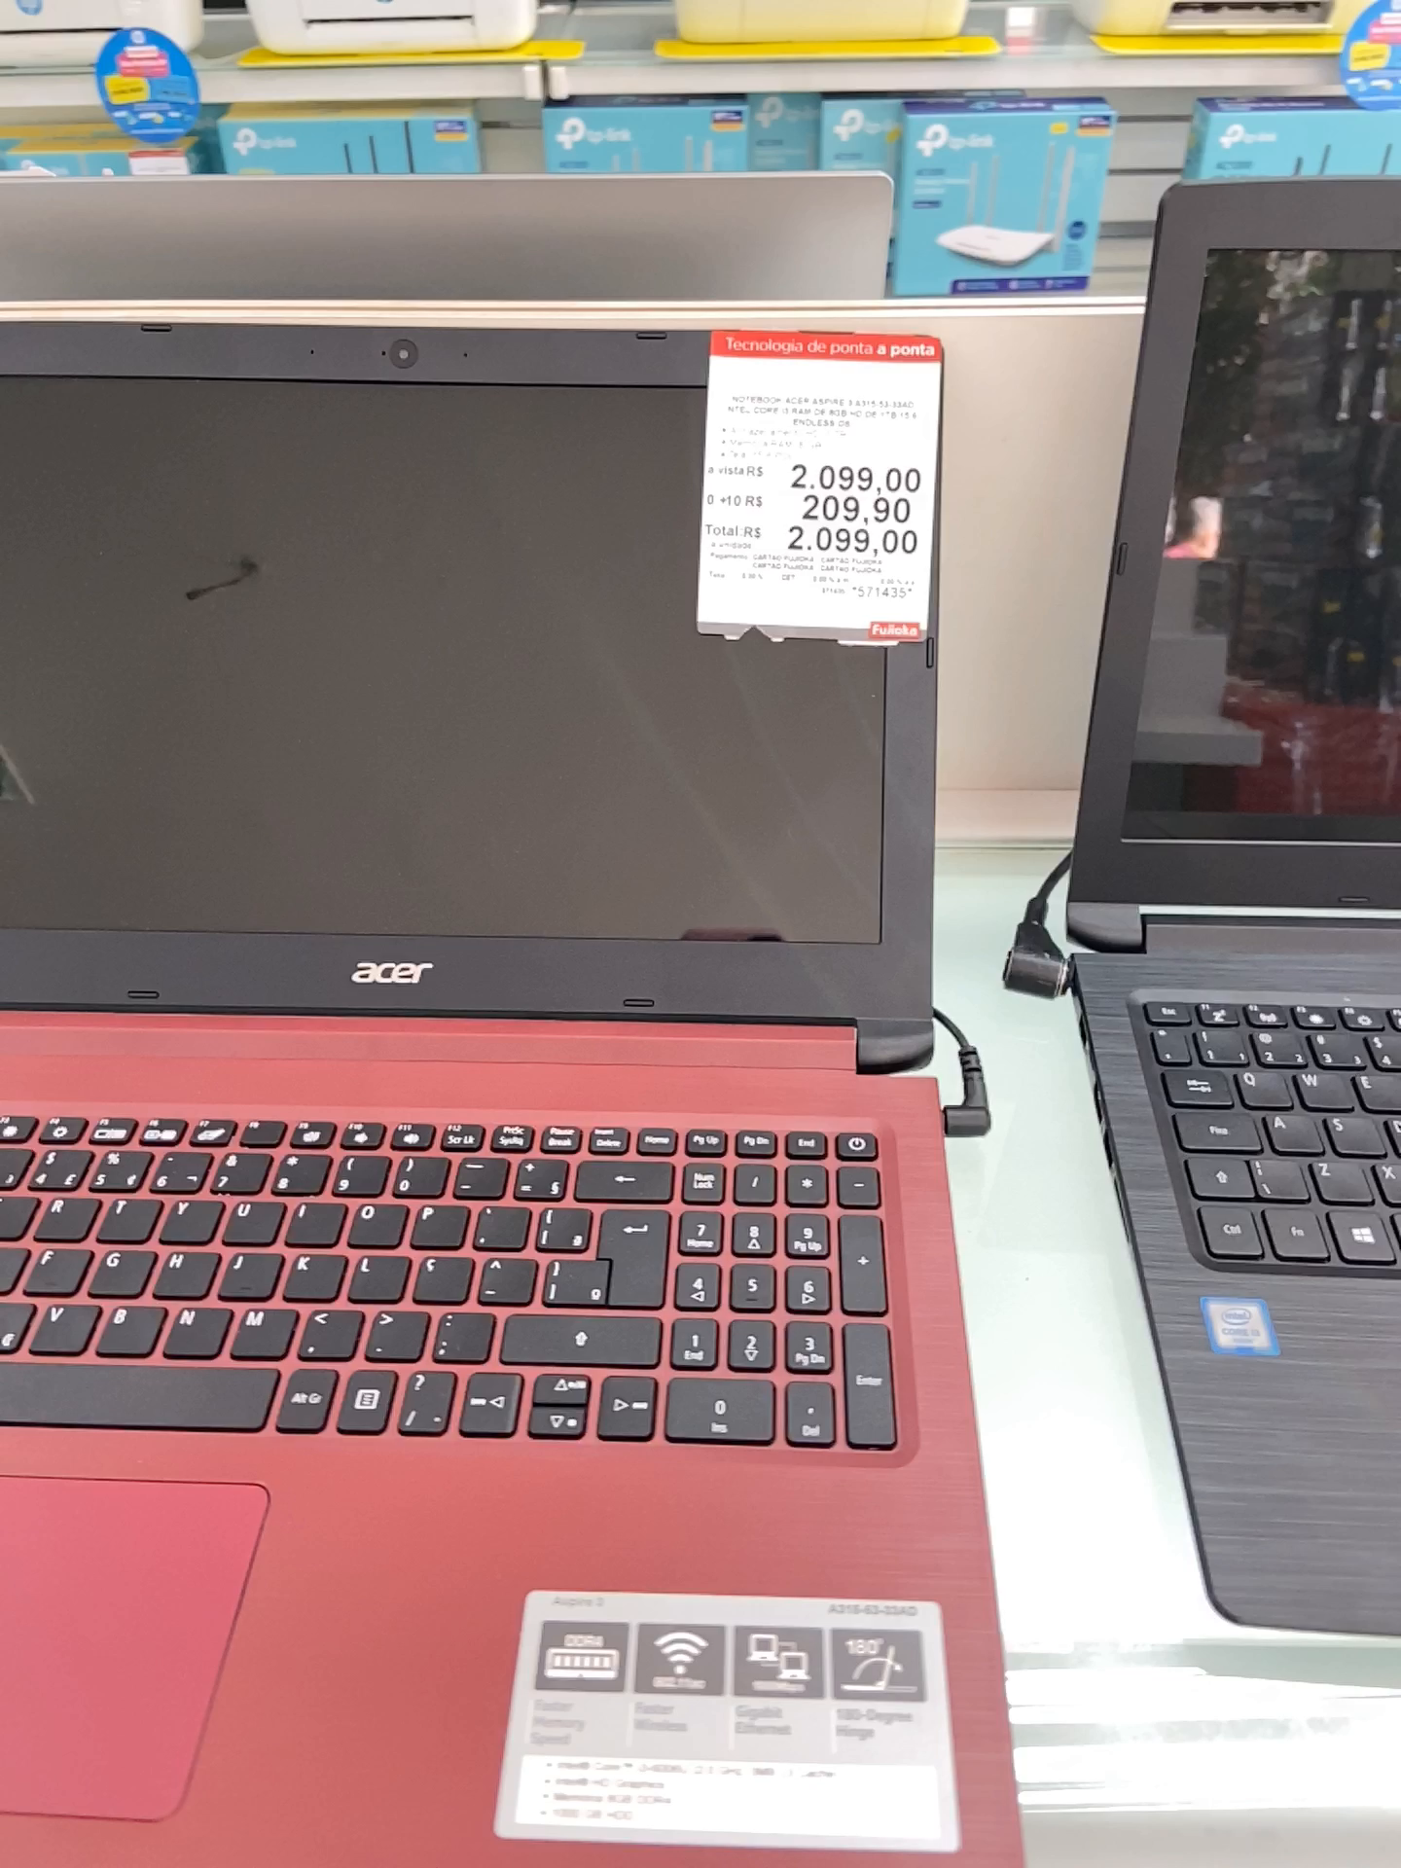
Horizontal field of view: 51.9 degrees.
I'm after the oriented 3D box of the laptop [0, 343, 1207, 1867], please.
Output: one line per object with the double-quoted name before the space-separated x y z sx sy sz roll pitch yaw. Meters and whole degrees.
"laptop" -0.117 -0.003 0.420 0.391 0.193 0.432 1 40 3
